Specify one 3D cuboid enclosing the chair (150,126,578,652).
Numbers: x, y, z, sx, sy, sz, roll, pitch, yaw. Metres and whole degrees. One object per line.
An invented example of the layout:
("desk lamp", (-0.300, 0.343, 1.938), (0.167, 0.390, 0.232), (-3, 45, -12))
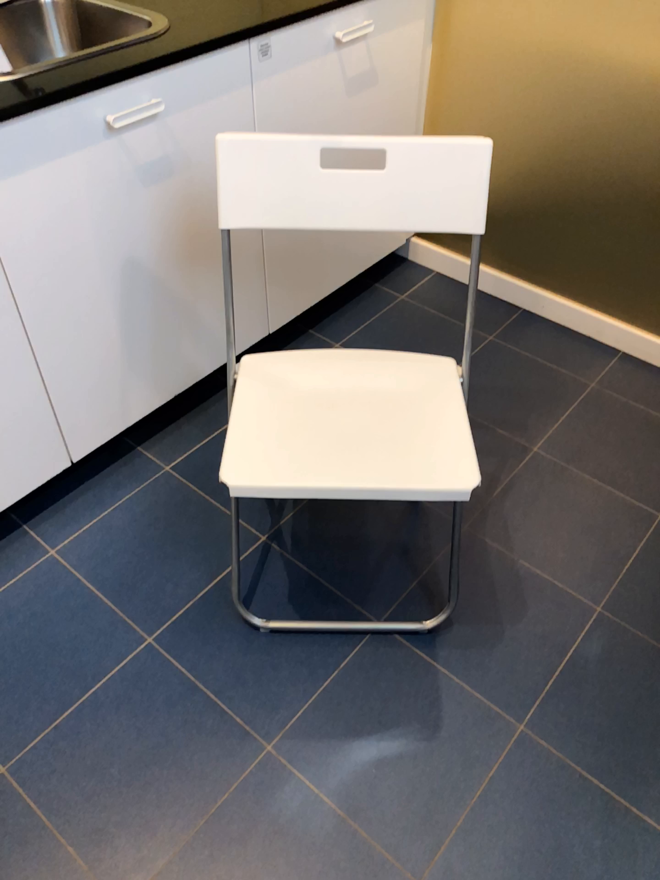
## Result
("chair", (0.039, -0.058, 1.287), (0.490, 0.775, 0.523), (1, 45, 0))
